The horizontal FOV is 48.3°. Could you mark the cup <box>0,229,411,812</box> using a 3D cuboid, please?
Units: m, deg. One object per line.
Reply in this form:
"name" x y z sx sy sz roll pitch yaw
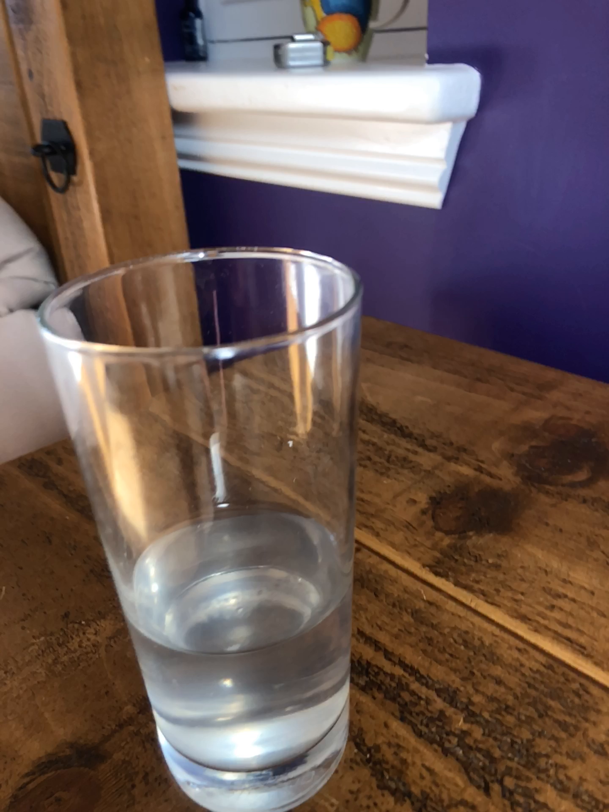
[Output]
"cup" -0.022 0.039 0.192 0.074 0.152 0.078 -2 27 1
